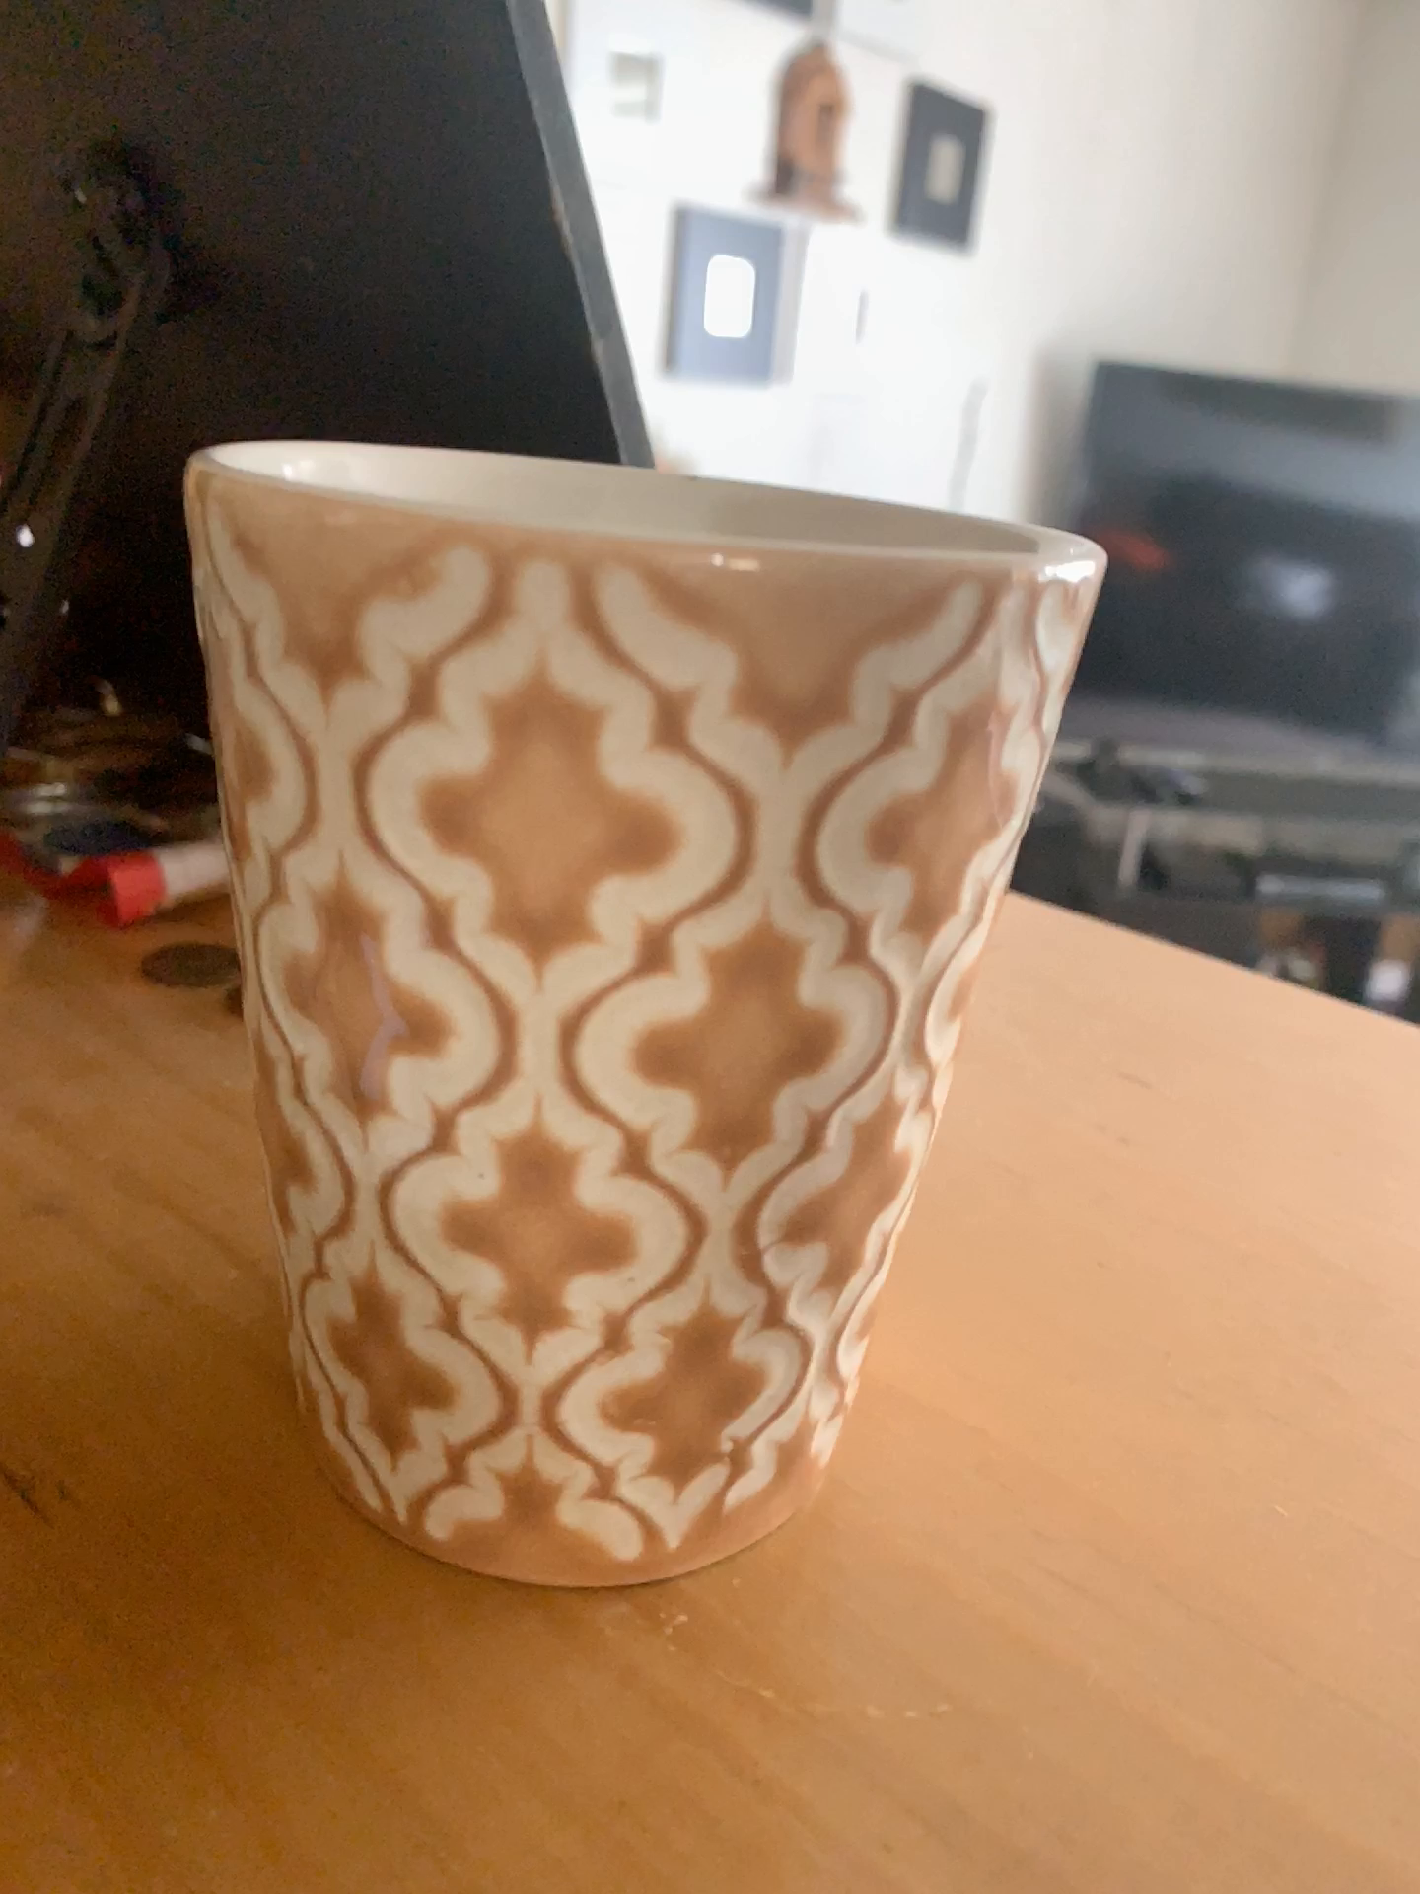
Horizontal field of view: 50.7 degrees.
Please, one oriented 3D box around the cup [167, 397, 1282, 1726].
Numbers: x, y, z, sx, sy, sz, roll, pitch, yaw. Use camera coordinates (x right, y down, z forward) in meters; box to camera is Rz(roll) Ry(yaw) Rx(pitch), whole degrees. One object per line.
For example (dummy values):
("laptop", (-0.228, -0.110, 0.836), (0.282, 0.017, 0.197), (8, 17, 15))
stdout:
("cup", (-0.017, -0.004, 0.185), (0.090, 0.109, 0.121), (-2, 21, -19))
